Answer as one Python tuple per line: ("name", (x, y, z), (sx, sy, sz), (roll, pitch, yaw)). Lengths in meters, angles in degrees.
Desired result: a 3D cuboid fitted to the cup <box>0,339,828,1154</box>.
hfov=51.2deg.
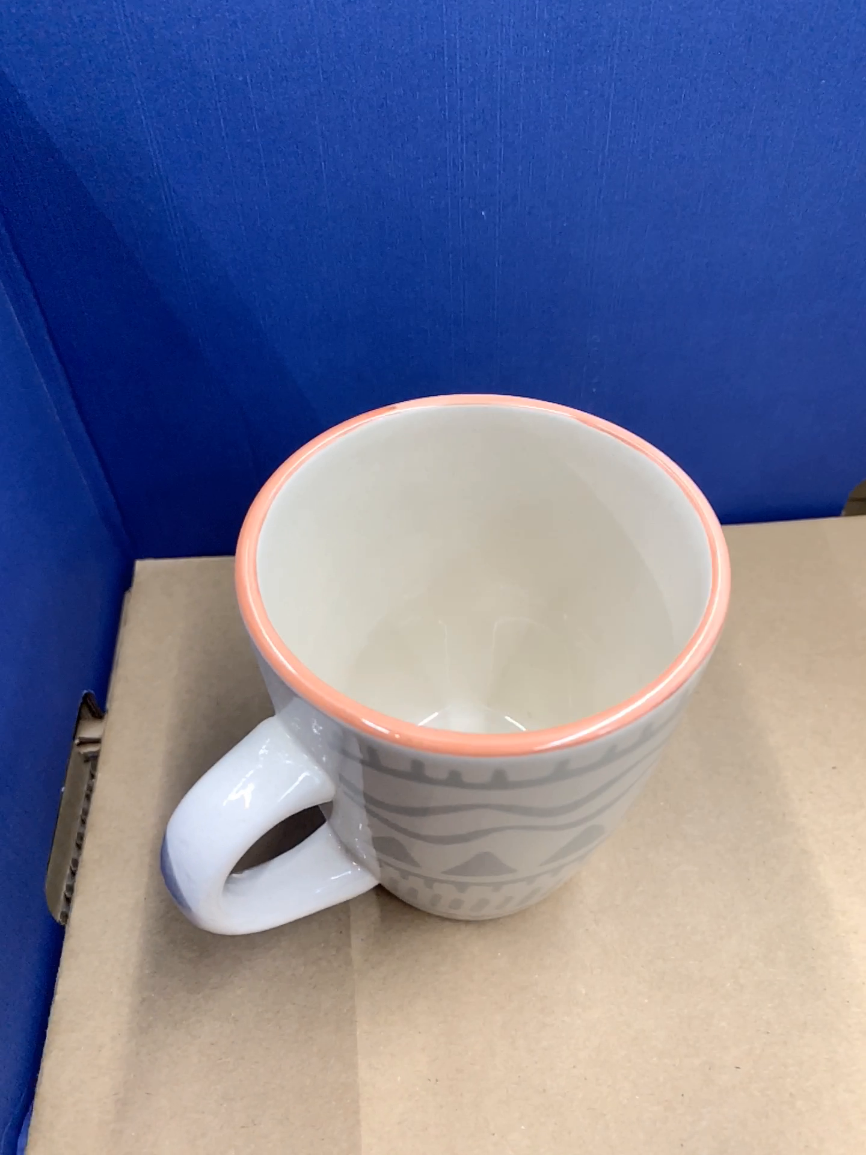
("cup", (-0.001, 0.027, 0.191), (0.097, 0.082, 0.119), (33, 56, 29))
